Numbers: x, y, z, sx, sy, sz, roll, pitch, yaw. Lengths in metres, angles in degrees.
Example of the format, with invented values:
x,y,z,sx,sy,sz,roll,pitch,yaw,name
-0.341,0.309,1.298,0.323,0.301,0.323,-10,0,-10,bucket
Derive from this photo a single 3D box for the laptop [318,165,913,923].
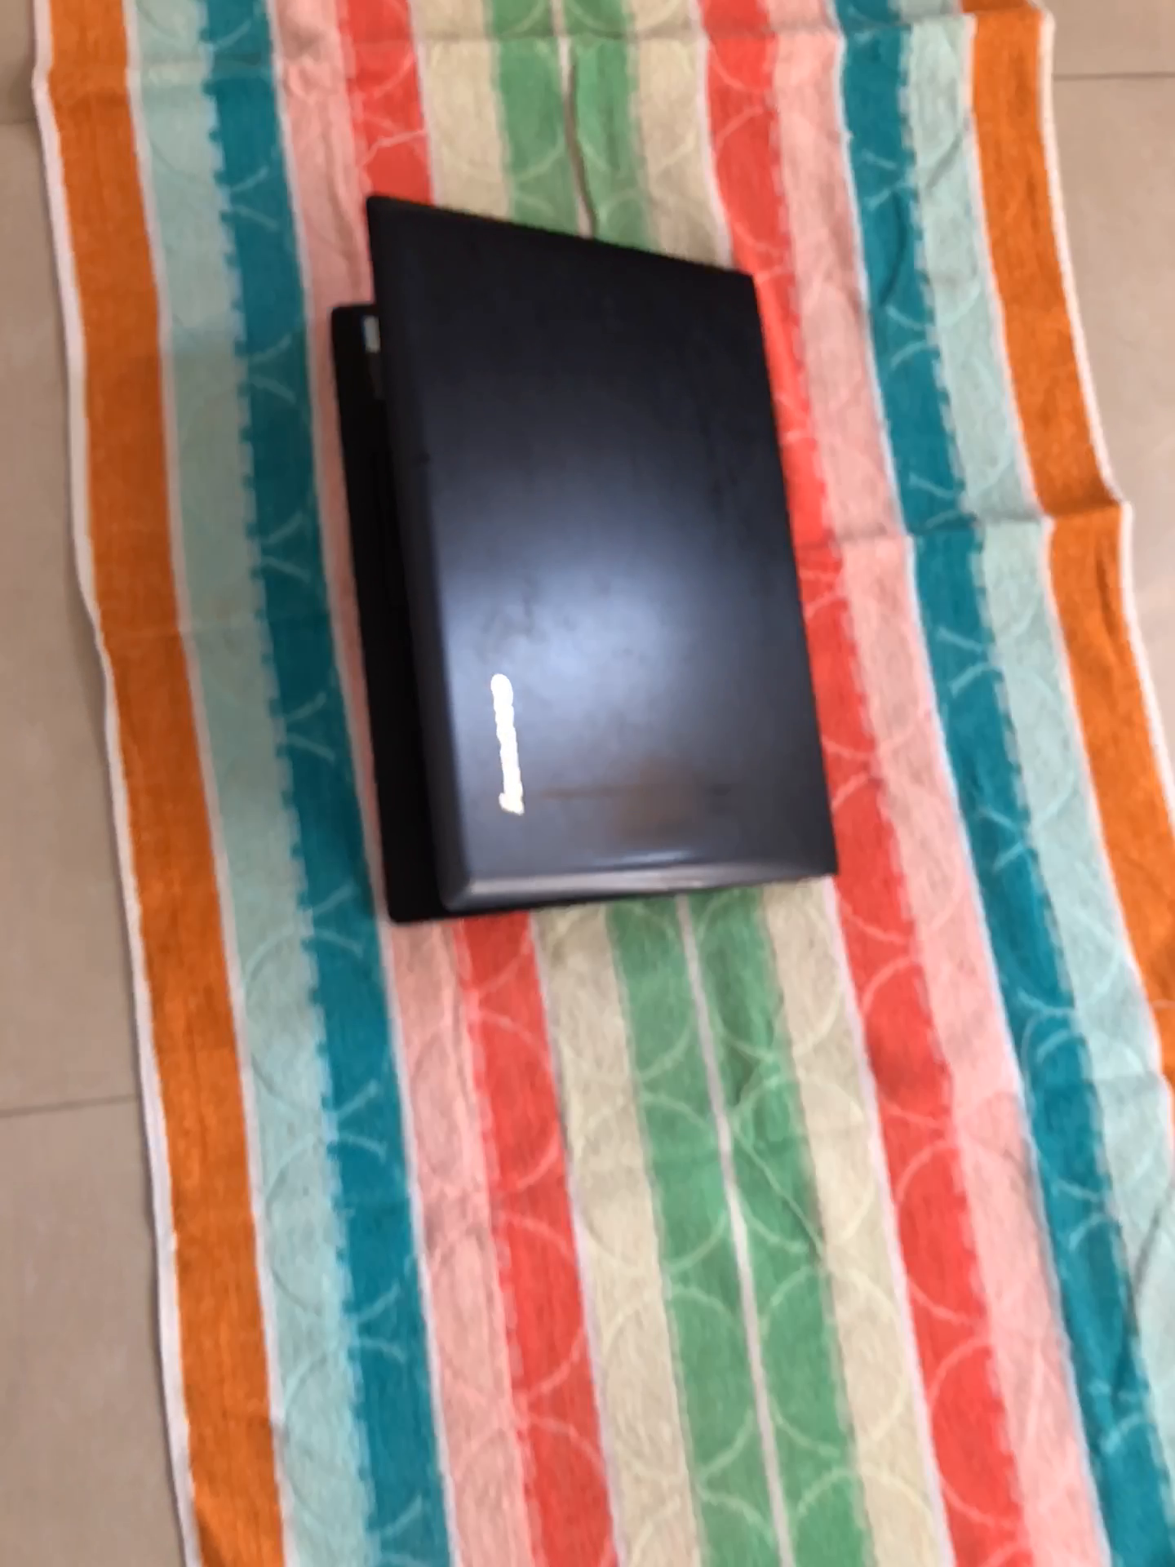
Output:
x,y,z,sx,sy,sz,roll,pitch,yaw,name
0.007,-0.125,0.709,0.253,0.126,0.363,-6,83,-10,laptop
